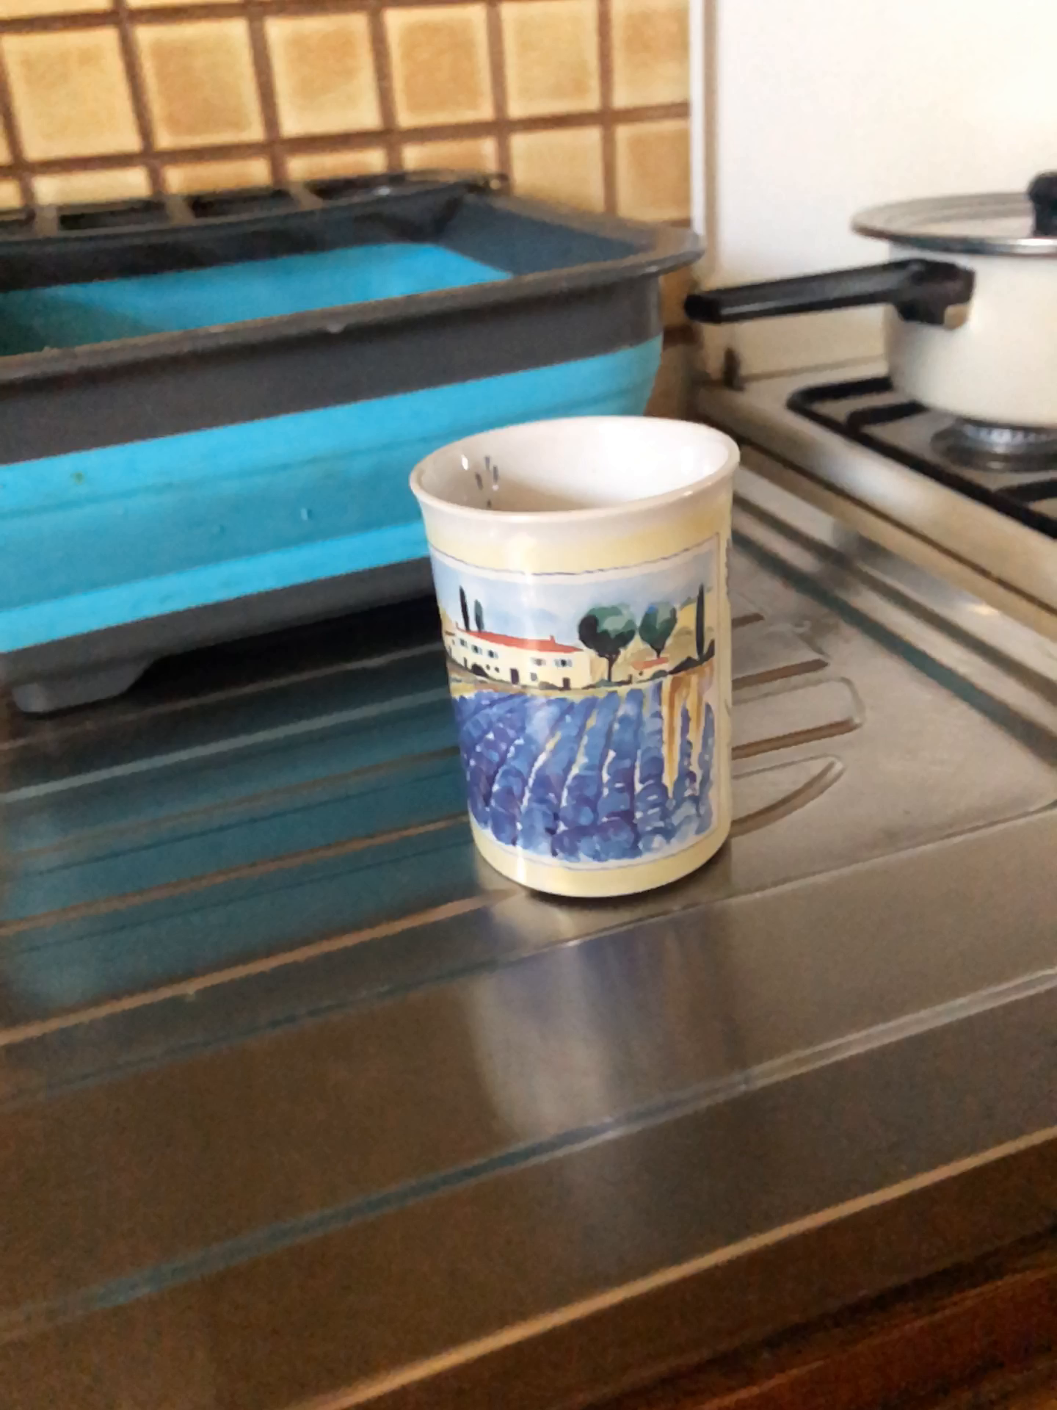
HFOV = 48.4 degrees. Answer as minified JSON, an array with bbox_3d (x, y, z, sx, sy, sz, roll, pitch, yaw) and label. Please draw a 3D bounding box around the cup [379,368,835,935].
[{"bbox_3d":[0.027,-0.022,0.304,0.070,0.099,0.111,11,32,25],"label":"cup"}]
